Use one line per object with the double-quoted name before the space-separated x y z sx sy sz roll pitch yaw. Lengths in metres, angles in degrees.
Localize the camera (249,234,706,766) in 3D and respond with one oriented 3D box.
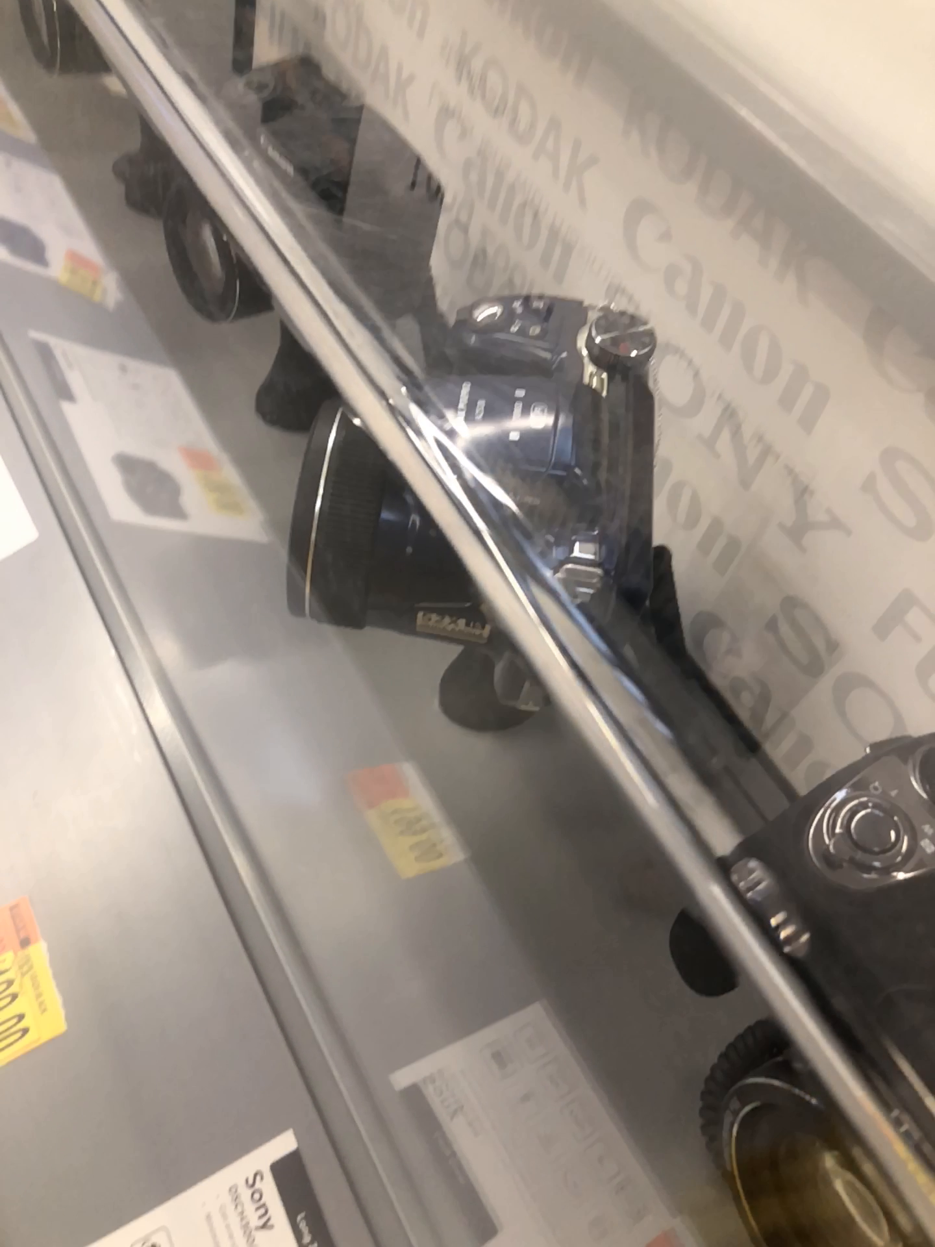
"camera" 0.002 -0.039 0.330 0.110 0.090 0.121 12 49 -8
